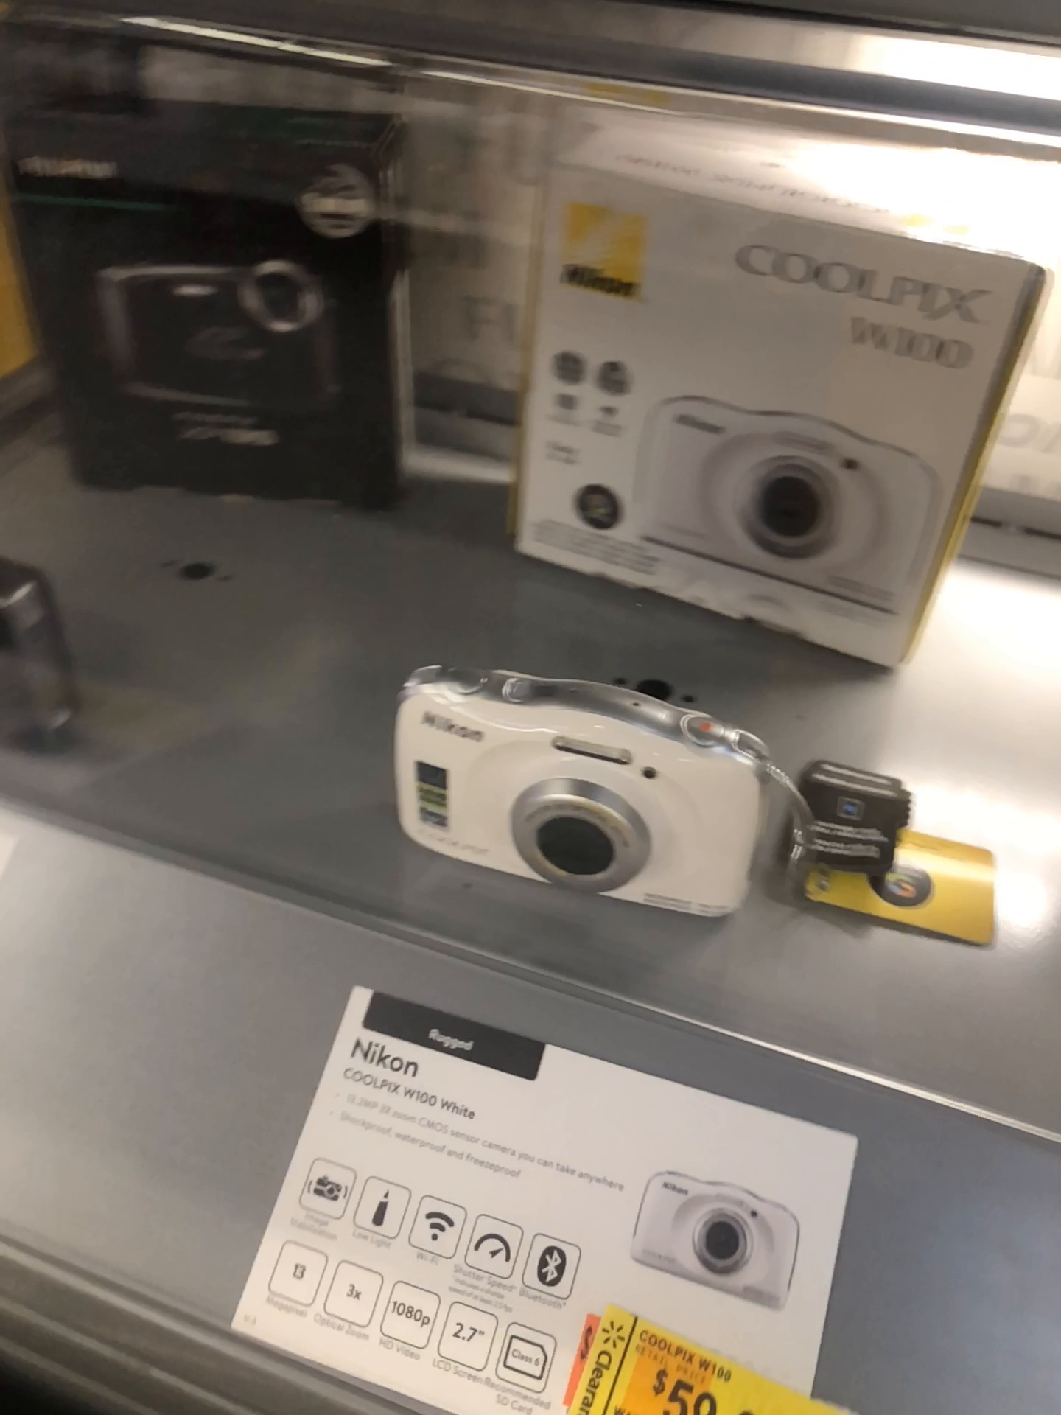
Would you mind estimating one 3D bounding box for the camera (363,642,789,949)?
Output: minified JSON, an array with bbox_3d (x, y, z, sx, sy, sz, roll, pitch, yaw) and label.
[{"bbox_3d":[0.011,0.025,0.335,0.110,0.060,0.030,12,41,11],"label":"camera"}]
